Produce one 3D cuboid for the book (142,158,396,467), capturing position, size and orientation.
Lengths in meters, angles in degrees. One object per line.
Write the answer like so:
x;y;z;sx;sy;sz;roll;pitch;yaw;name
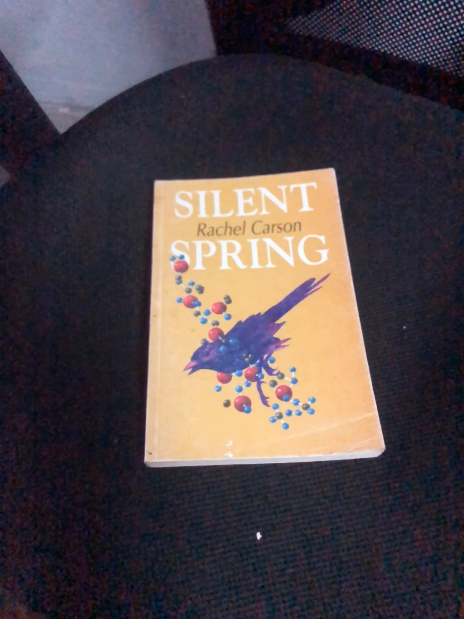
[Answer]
0.017;-0.008;0.368;0.150;0.030;0.220;-4;63;2;book
